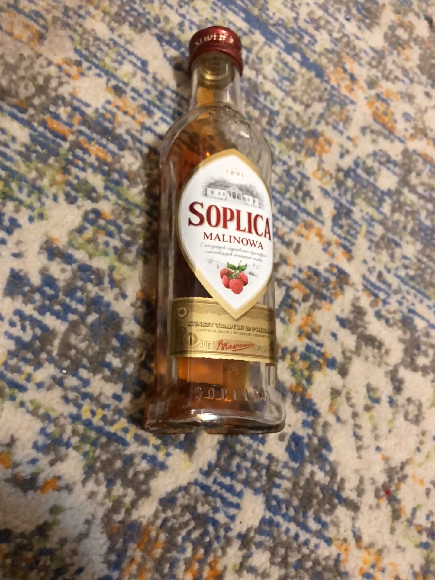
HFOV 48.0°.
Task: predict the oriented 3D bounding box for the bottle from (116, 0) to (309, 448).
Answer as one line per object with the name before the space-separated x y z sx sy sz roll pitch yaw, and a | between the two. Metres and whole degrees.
bottle | -0.003 -0.042 0.214 0.060 0.040 0.210 8 69 -22
